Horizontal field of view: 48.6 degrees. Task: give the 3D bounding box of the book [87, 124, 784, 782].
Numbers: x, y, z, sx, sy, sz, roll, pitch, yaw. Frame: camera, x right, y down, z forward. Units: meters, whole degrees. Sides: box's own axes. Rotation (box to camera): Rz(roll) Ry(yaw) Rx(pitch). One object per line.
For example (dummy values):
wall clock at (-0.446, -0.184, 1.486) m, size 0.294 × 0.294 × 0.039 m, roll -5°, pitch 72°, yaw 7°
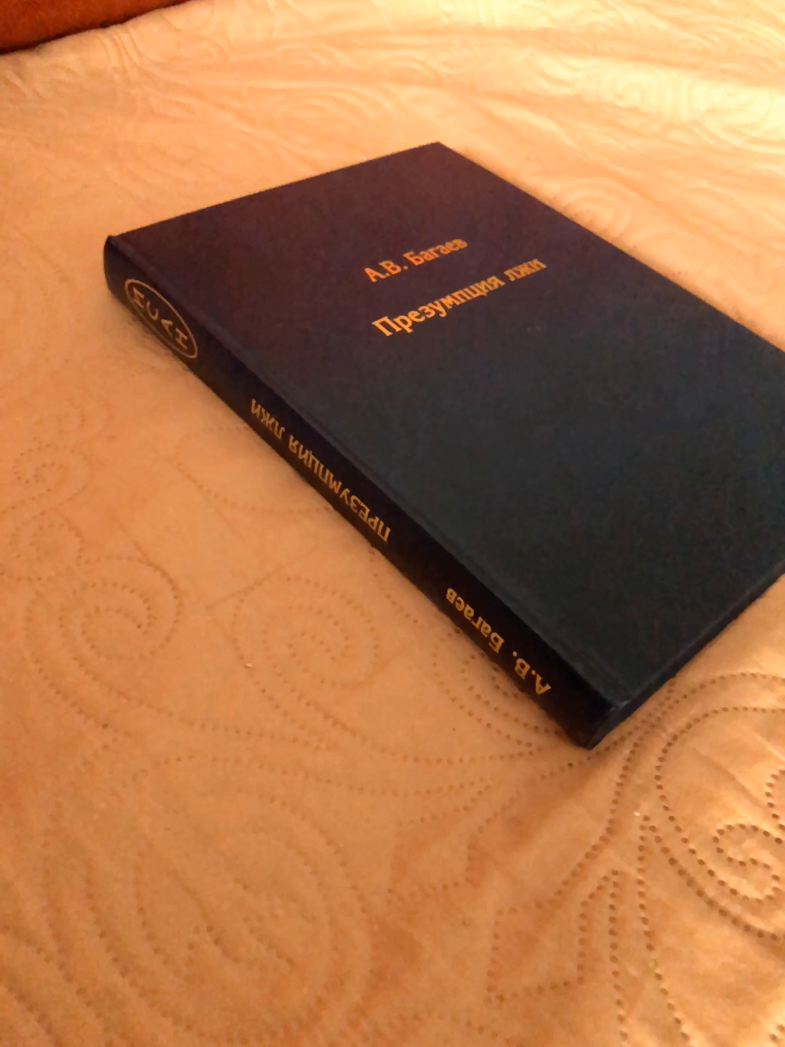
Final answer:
book at (0.037, -0.061, 0.325) m, size 0.181 × 0.030 × 0.261 m, roll -31°, pitch 60°, yaw -30°
